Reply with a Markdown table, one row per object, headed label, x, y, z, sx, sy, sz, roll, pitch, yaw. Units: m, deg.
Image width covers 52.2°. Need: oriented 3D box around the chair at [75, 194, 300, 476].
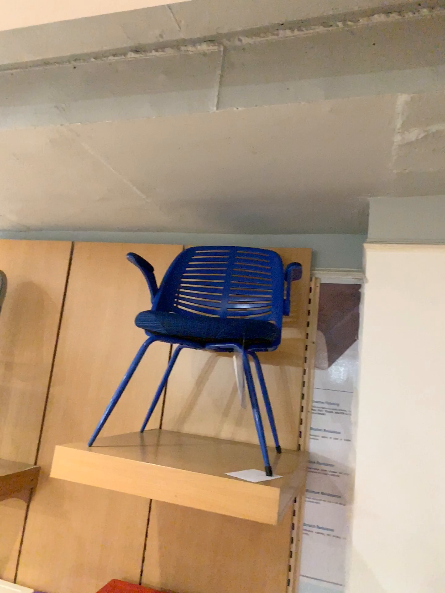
| label | x | y | z | sx | sy | sz | roll | pitch | yaw |
| --- | --- | --- | --- | --- | --- | --- | --- | --- | --- |
| chair | -0.057 | 0.122 | 1.610 | 0.570 | 0.792 | 0.549 | 4 | -10 | 13 |
